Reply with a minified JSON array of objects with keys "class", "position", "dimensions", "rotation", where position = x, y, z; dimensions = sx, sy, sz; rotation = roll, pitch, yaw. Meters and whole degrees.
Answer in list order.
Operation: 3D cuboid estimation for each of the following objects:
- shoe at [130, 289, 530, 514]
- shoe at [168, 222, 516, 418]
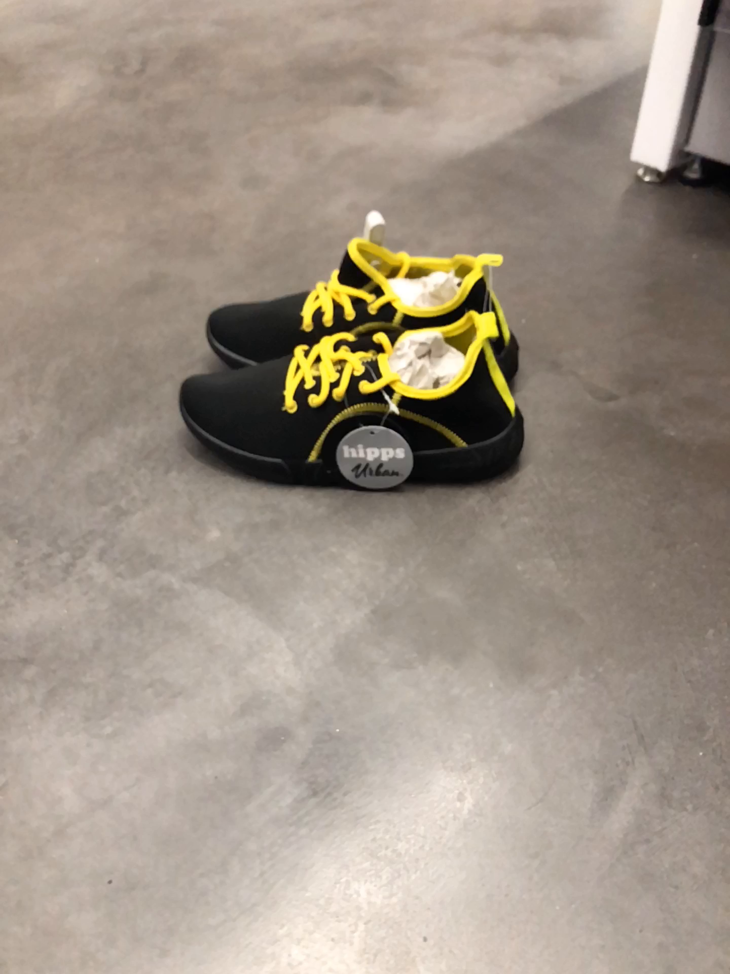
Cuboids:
[{"class":"shoe","position":[-0.016,-0.056,0.525],"dimensions":[0.230,0.099,0.091],"rotation":[4,45,6]},{"class":"shoe","position":[-0.011,-0.124,0.595],"dimensions":[0.230,0.099,0.091],"rotation":[4,45,6]}]
